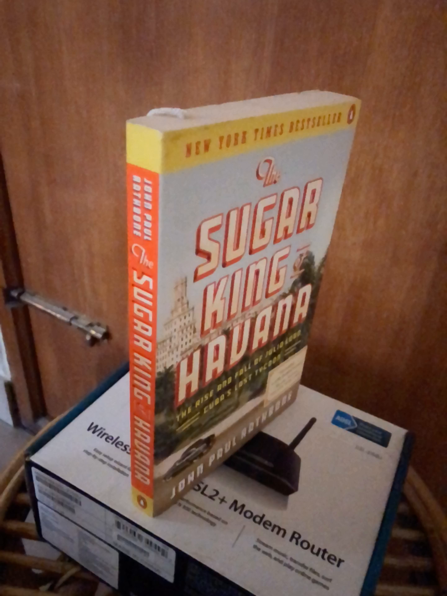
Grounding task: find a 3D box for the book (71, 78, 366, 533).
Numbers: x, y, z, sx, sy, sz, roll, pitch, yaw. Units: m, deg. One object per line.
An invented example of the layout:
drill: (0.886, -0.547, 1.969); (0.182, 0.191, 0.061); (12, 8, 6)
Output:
book: (0.005, 0.004, 0.267); (0.030, 0.209, 0.150); (28, 40, 34)
